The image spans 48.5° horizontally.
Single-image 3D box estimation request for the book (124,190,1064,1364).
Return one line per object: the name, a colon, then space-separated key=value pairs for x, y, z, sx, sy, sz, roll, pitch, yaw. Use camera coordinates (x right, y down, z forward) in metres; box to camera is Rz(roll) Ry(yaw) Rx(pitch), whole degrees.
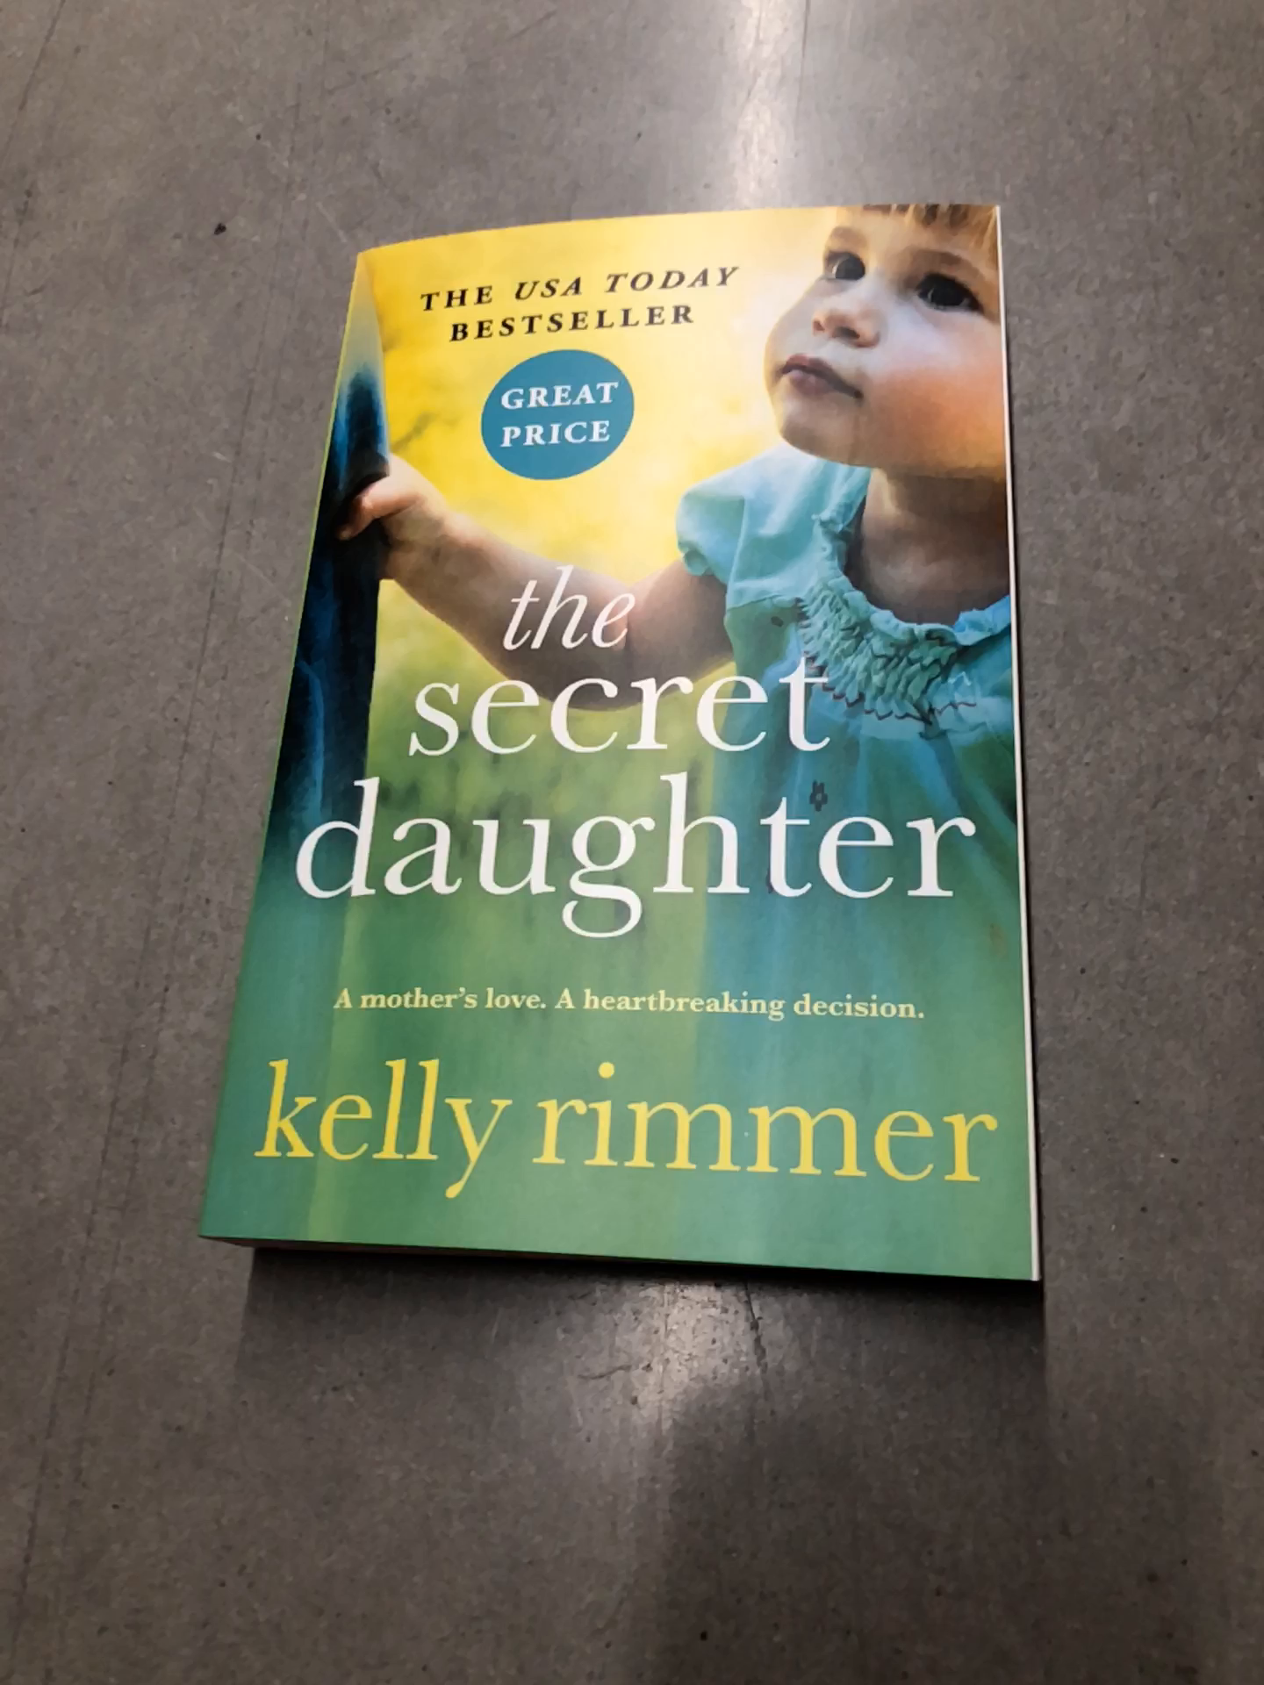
book: x=-0.001 y=-0.021 z=0.256 sx=0.140 sy=0.030 sz=0.210 roll=0 pitch=69 yaw=10
